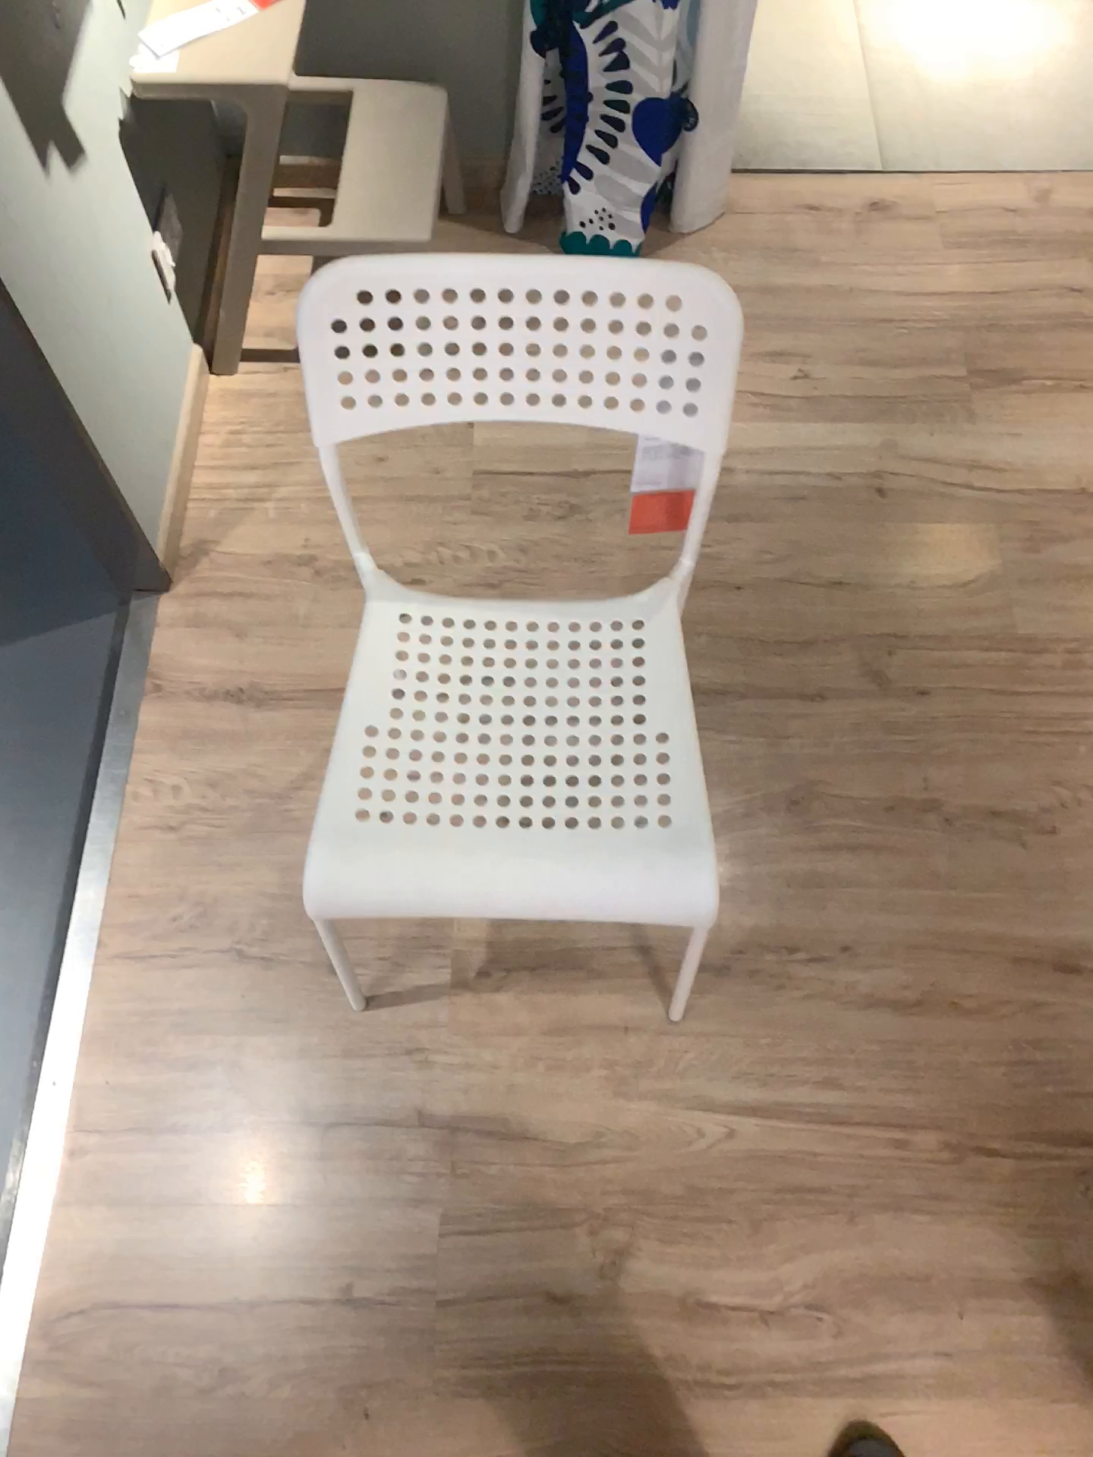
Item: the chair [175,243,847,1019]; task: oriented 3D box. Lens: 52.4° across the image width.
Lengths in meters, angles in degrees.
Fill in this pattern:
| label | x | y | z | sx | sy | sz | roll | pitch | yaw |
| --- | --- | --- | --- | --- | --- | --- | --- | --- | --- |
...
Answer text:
| label | x | y | z | sx | sy | sz | roll | pitch | yaw |
| --- | --- | --- | --- | --- | --- | --- | --- | --- | --- |
| chair | -0.025 | -0.040 | 1.099 | 0.430 | 0.609 | 0.531 | 0 | 65 | 0 |
